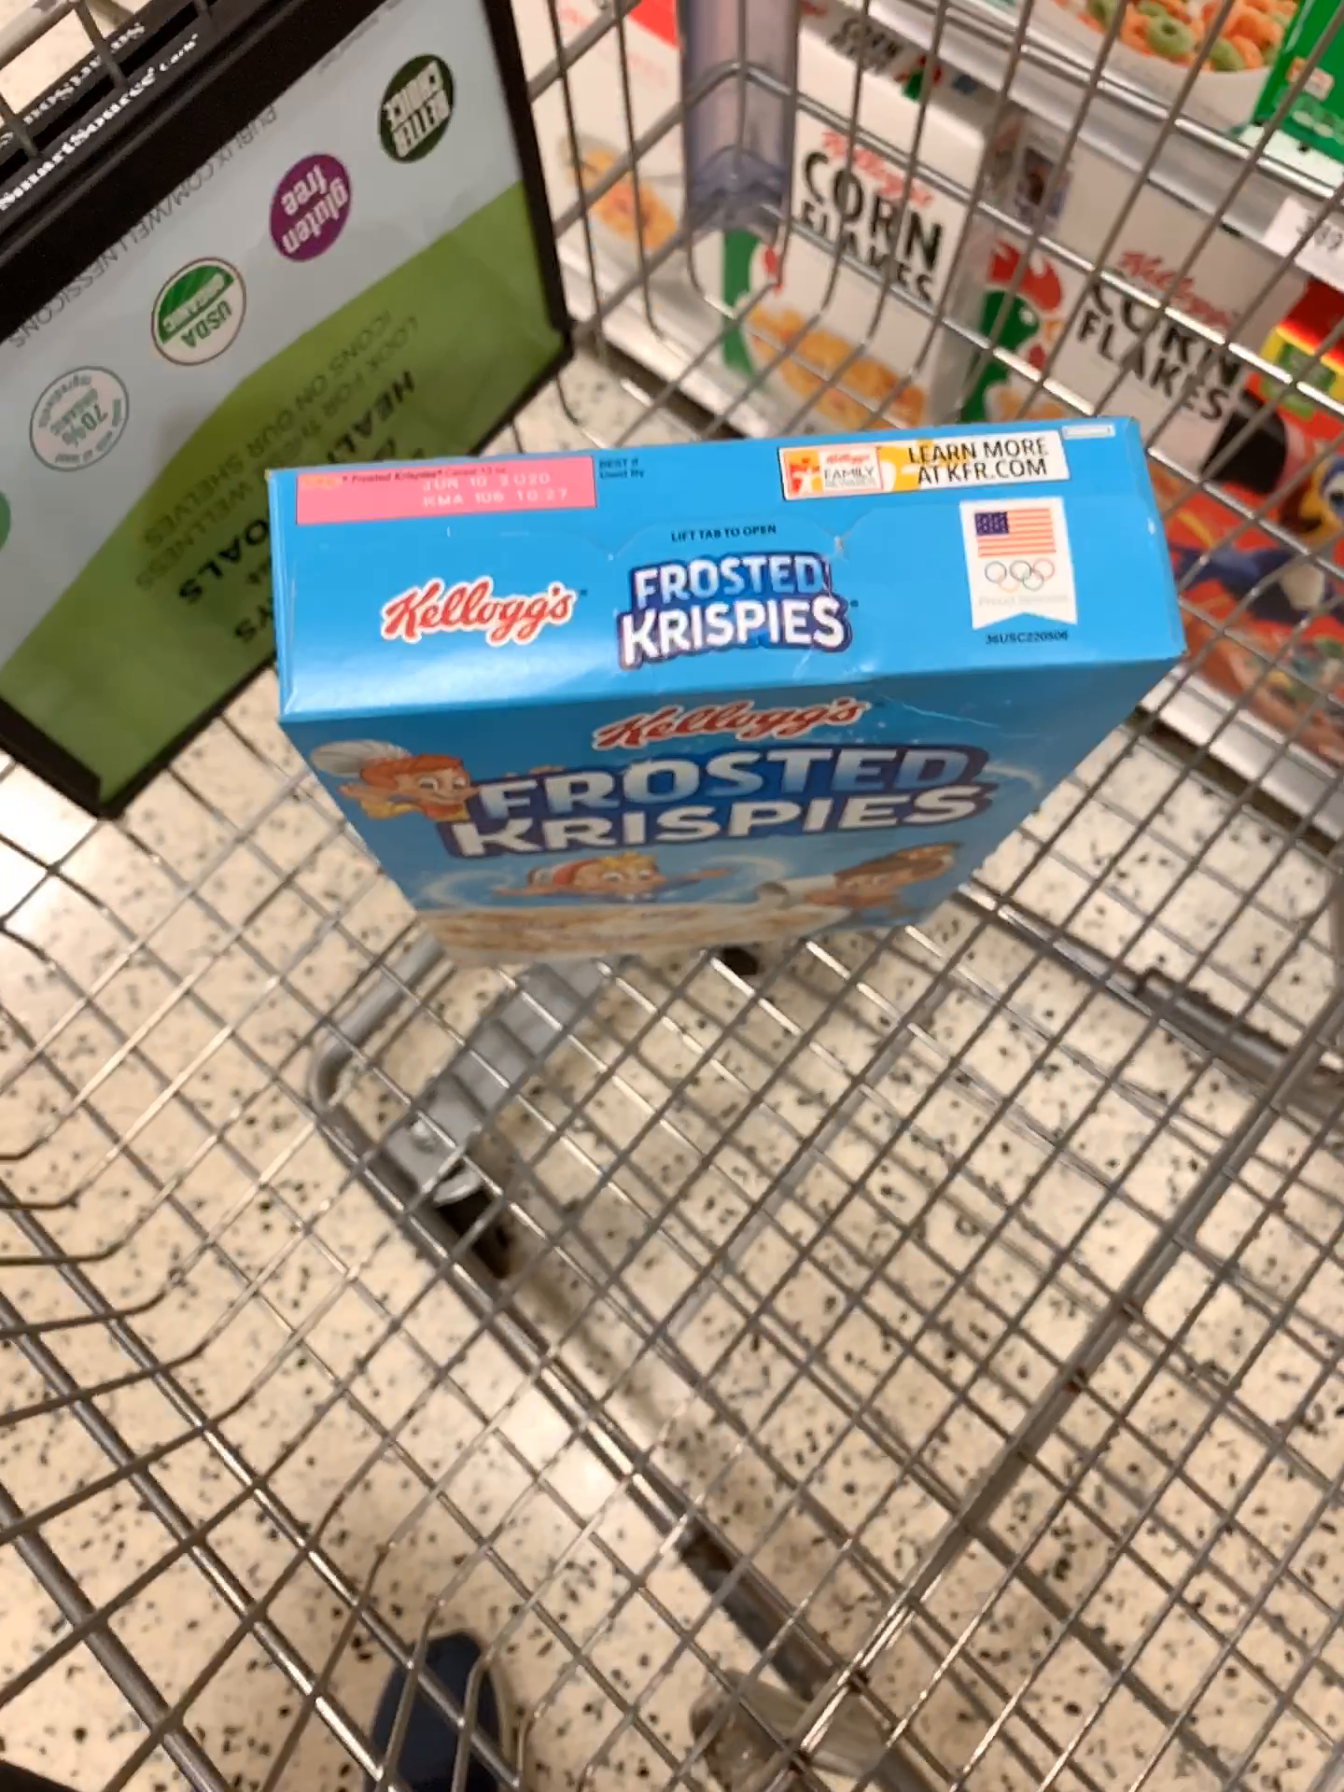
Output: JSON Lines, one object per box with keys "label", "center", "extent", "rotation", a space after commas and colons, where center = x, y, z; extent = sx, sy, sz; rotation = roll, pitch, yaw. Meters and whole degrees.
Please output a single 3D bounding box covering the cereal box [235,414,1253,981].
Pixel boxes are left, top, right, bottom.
{"label": "cereal box", "center": [0.014, -0.032, 0.437], "extent": [0.200, 0.319, 0.060], "rotation": [-4, 79, 0]}
